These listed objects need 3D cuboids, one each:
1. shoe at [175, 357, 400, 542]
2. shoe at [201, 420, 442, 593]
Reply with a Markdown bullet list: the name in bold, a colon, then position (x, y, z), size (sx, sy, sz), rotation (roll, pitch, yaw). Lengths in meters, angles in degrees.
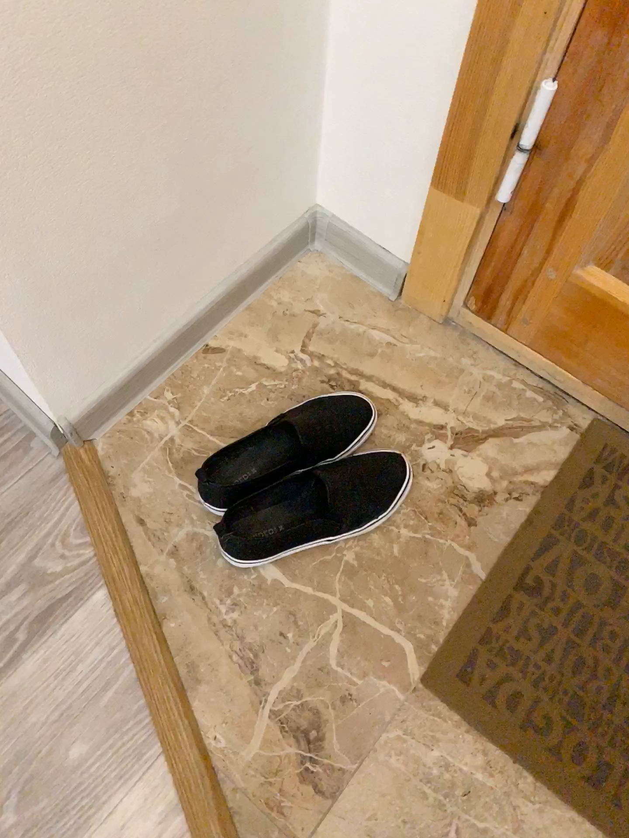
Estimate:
- **shoe**: position (-0.028, 0.031, 0.762), size (0.250, 0.060, 0.090), rotation (-31, 67, -19)
- **shoe**: position (0.008, 0.096, 0.730), size (0.250, 0.060, 0.090), rotation (-21, 64, -15)
